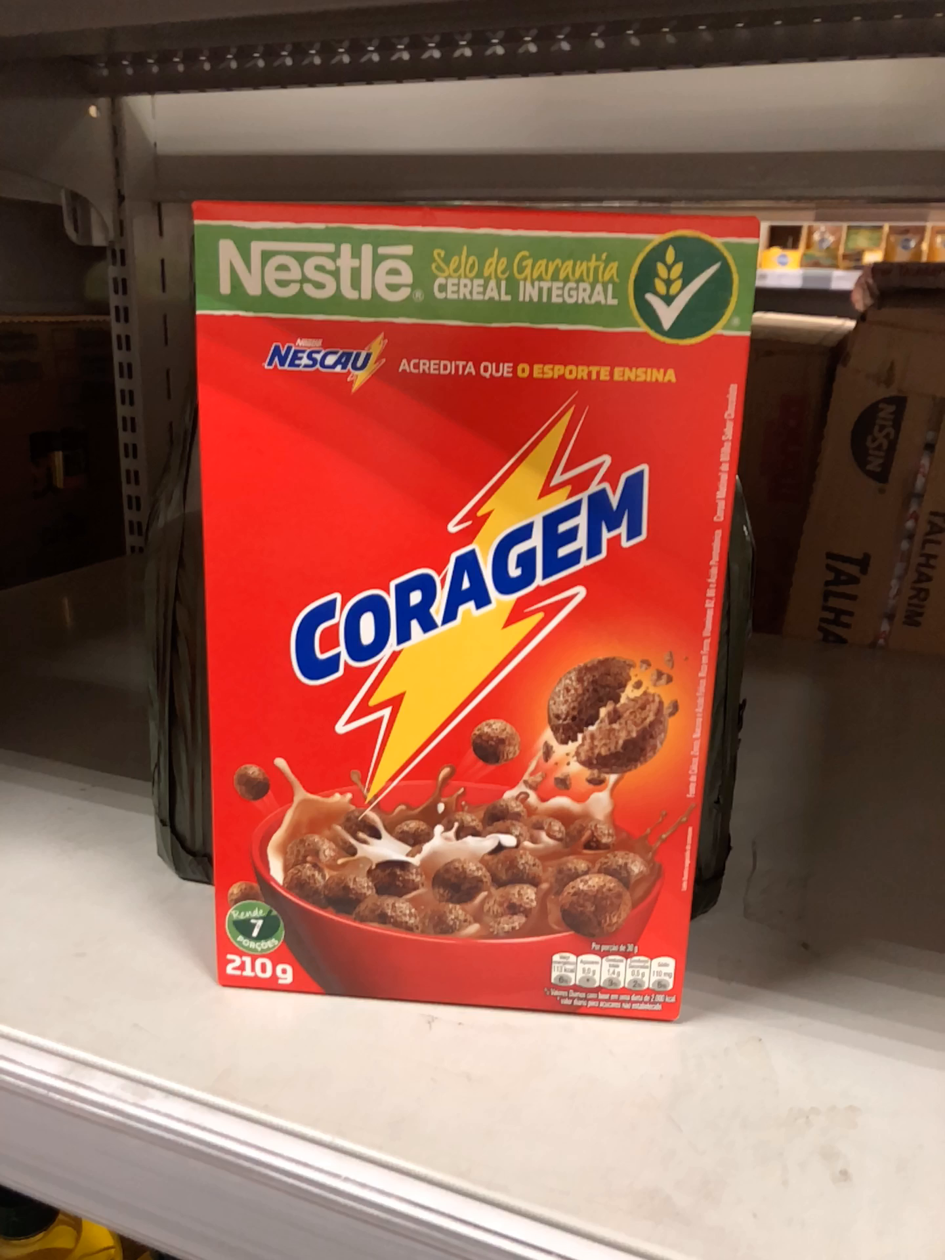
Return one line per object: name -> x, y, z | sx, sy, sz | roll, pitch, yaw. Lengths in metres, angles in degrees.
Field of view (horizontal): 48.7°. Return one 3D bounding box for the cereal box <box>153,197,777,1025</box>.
cereal box -> -0.003, -0.005, 0.343 | 0.170, 0.249, 0.060 | 2, 15, 6
